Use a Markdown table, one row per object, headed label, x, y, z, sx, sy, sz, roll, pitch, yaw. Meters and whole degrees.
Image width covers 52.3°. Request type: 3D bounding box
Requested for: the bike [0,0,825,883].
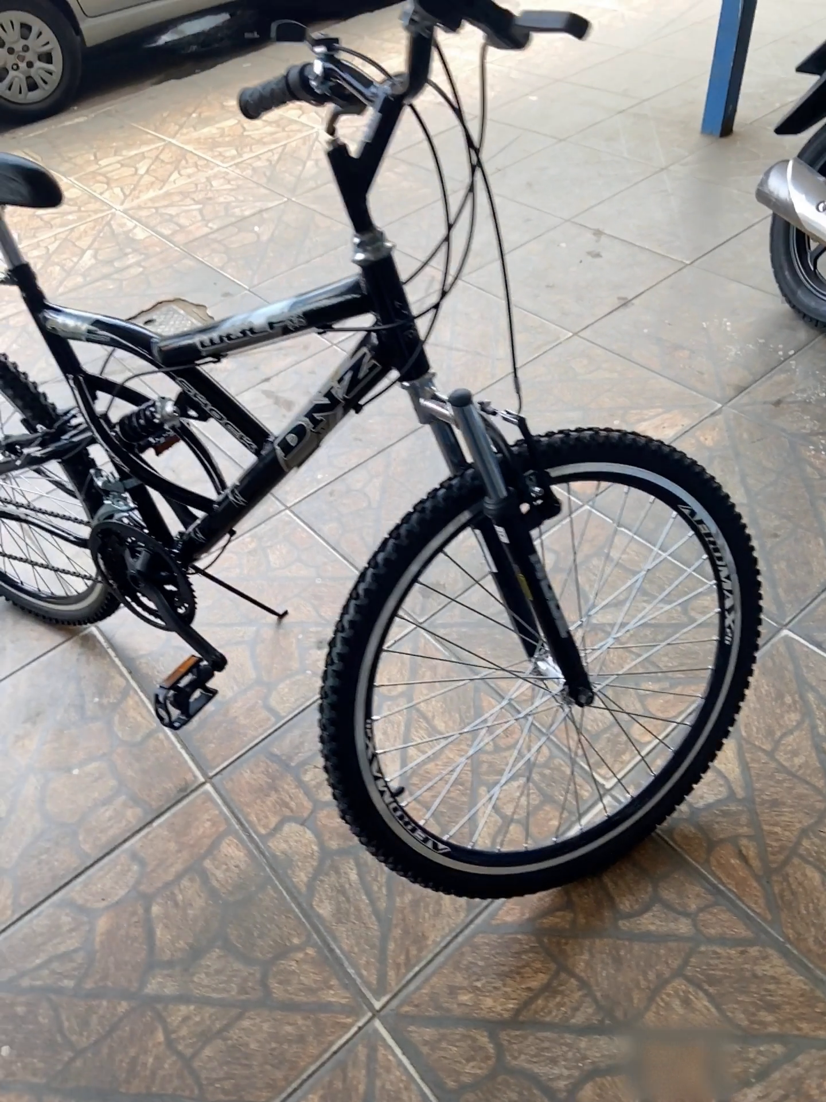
| label | x | y | z | sx | sy | sz | roll | pitch | yaw |
| --- | --- | --- | --- | --- | --- | --- | --- | --- | --- |
| bike | -0.350 | -0.260 | 1.163 | 1.585 | 1.155 | 0.606 | 9 | 49 | 20 |
